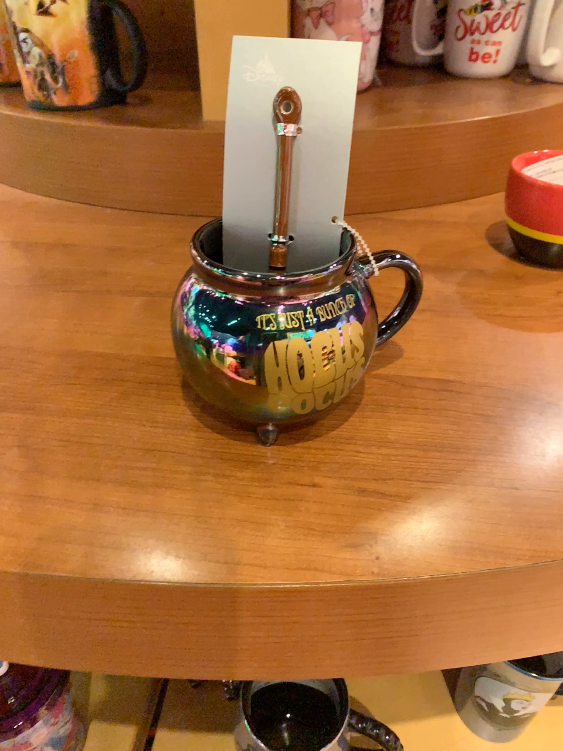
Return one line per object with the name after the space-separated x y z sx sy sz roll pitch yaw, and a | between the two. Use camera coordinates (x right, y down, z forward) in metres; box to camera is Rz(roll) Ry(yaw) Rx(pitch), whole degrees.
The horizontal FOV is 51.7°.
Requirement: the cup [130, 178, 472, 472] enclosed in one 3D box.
0.005 -0.034 0.308 0.136 0.089 0.101 -15 39 -18 | cup
